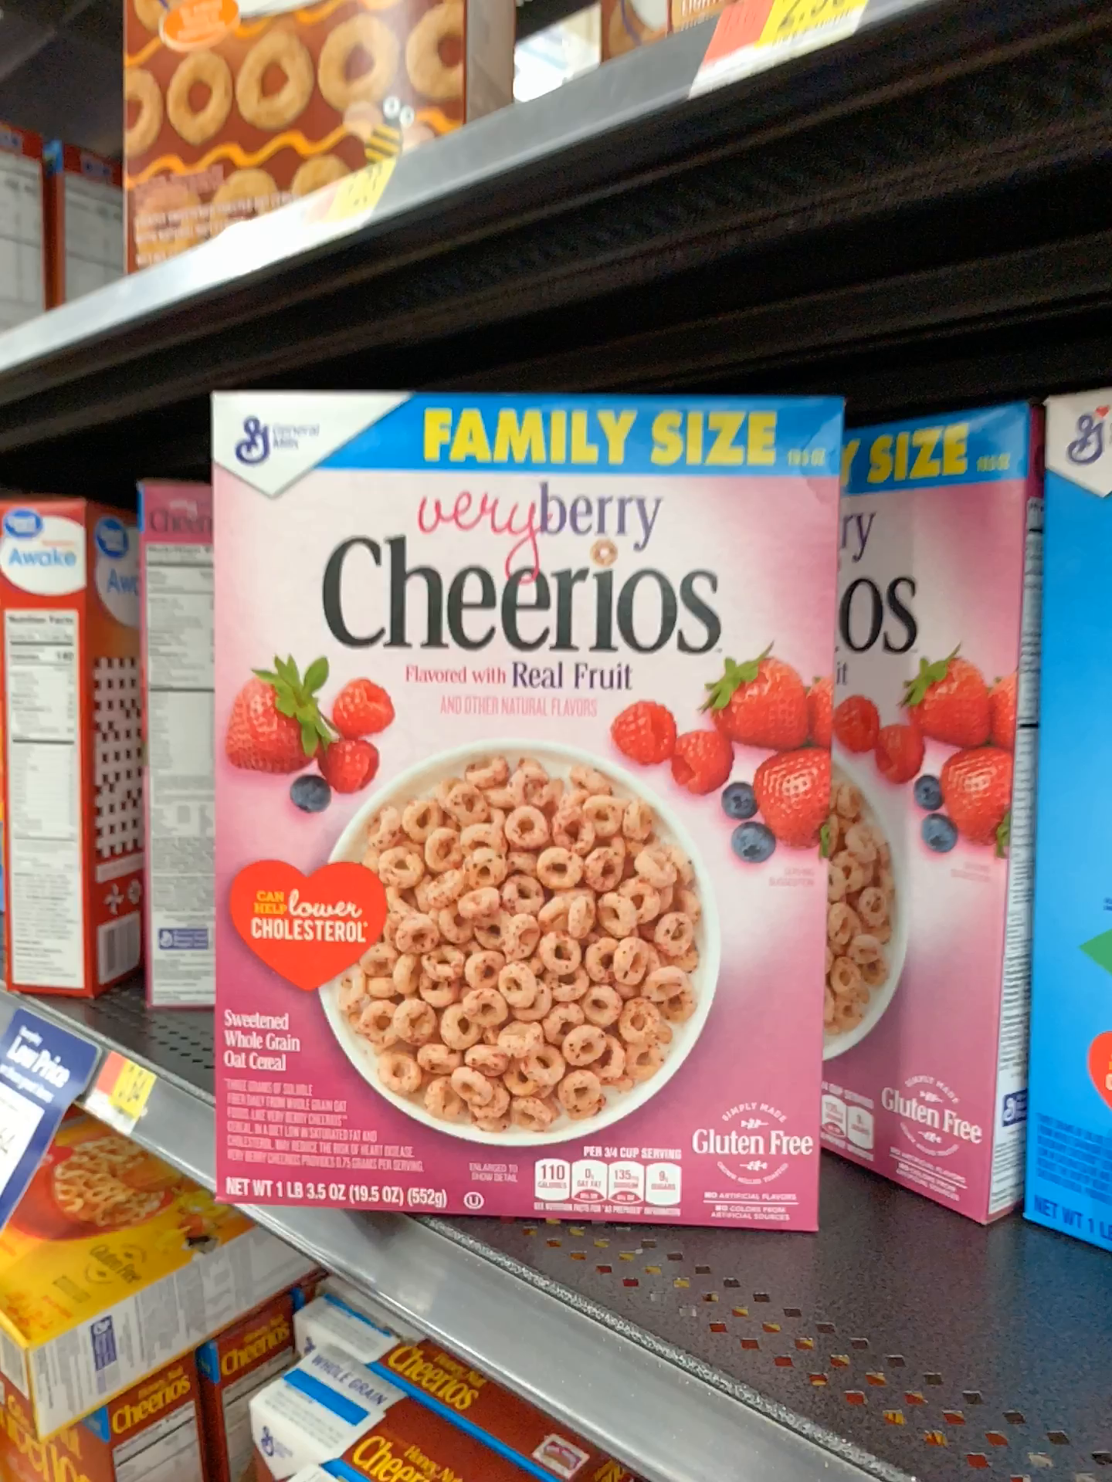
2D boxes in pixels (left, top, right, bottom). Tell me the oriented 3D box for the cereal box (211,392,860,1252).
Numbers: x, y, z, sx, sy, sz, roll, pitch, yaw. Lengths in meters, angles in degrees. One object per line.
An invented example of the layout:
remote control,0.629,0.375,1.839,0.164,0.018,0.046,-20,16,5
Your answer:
cereal box,-0.010,0.029,0.467,0.240,0.320,0.060,1,3,4
